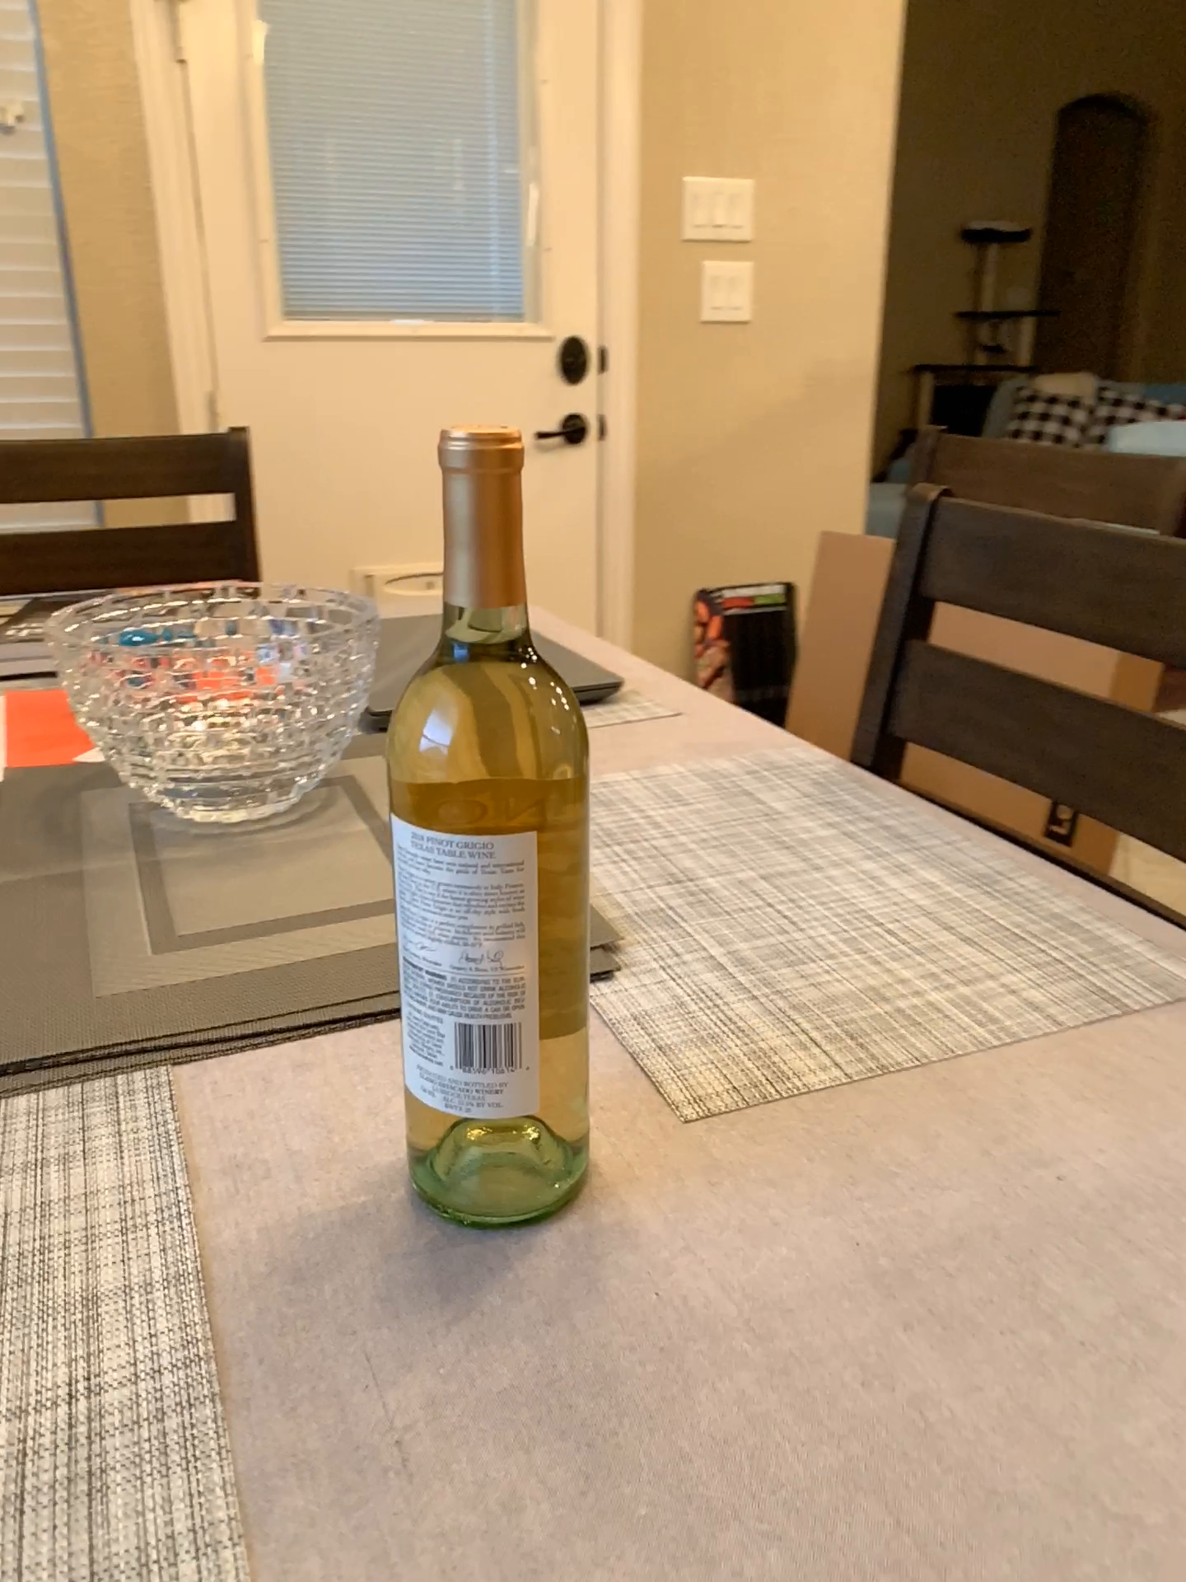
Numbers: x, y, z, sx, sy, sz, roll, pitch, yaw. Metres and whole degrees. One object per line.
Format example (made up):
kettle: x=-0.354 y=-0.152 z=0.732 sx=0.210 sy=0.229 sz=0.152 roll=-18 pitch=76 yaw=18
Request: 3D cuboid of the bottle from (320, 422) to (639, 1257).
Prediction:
bottle: x=-0.036 y=0.019 z=0.462 sx=0.083 sy=0.299 sz=0.080 roll=0 pitch=19 yaw=0
